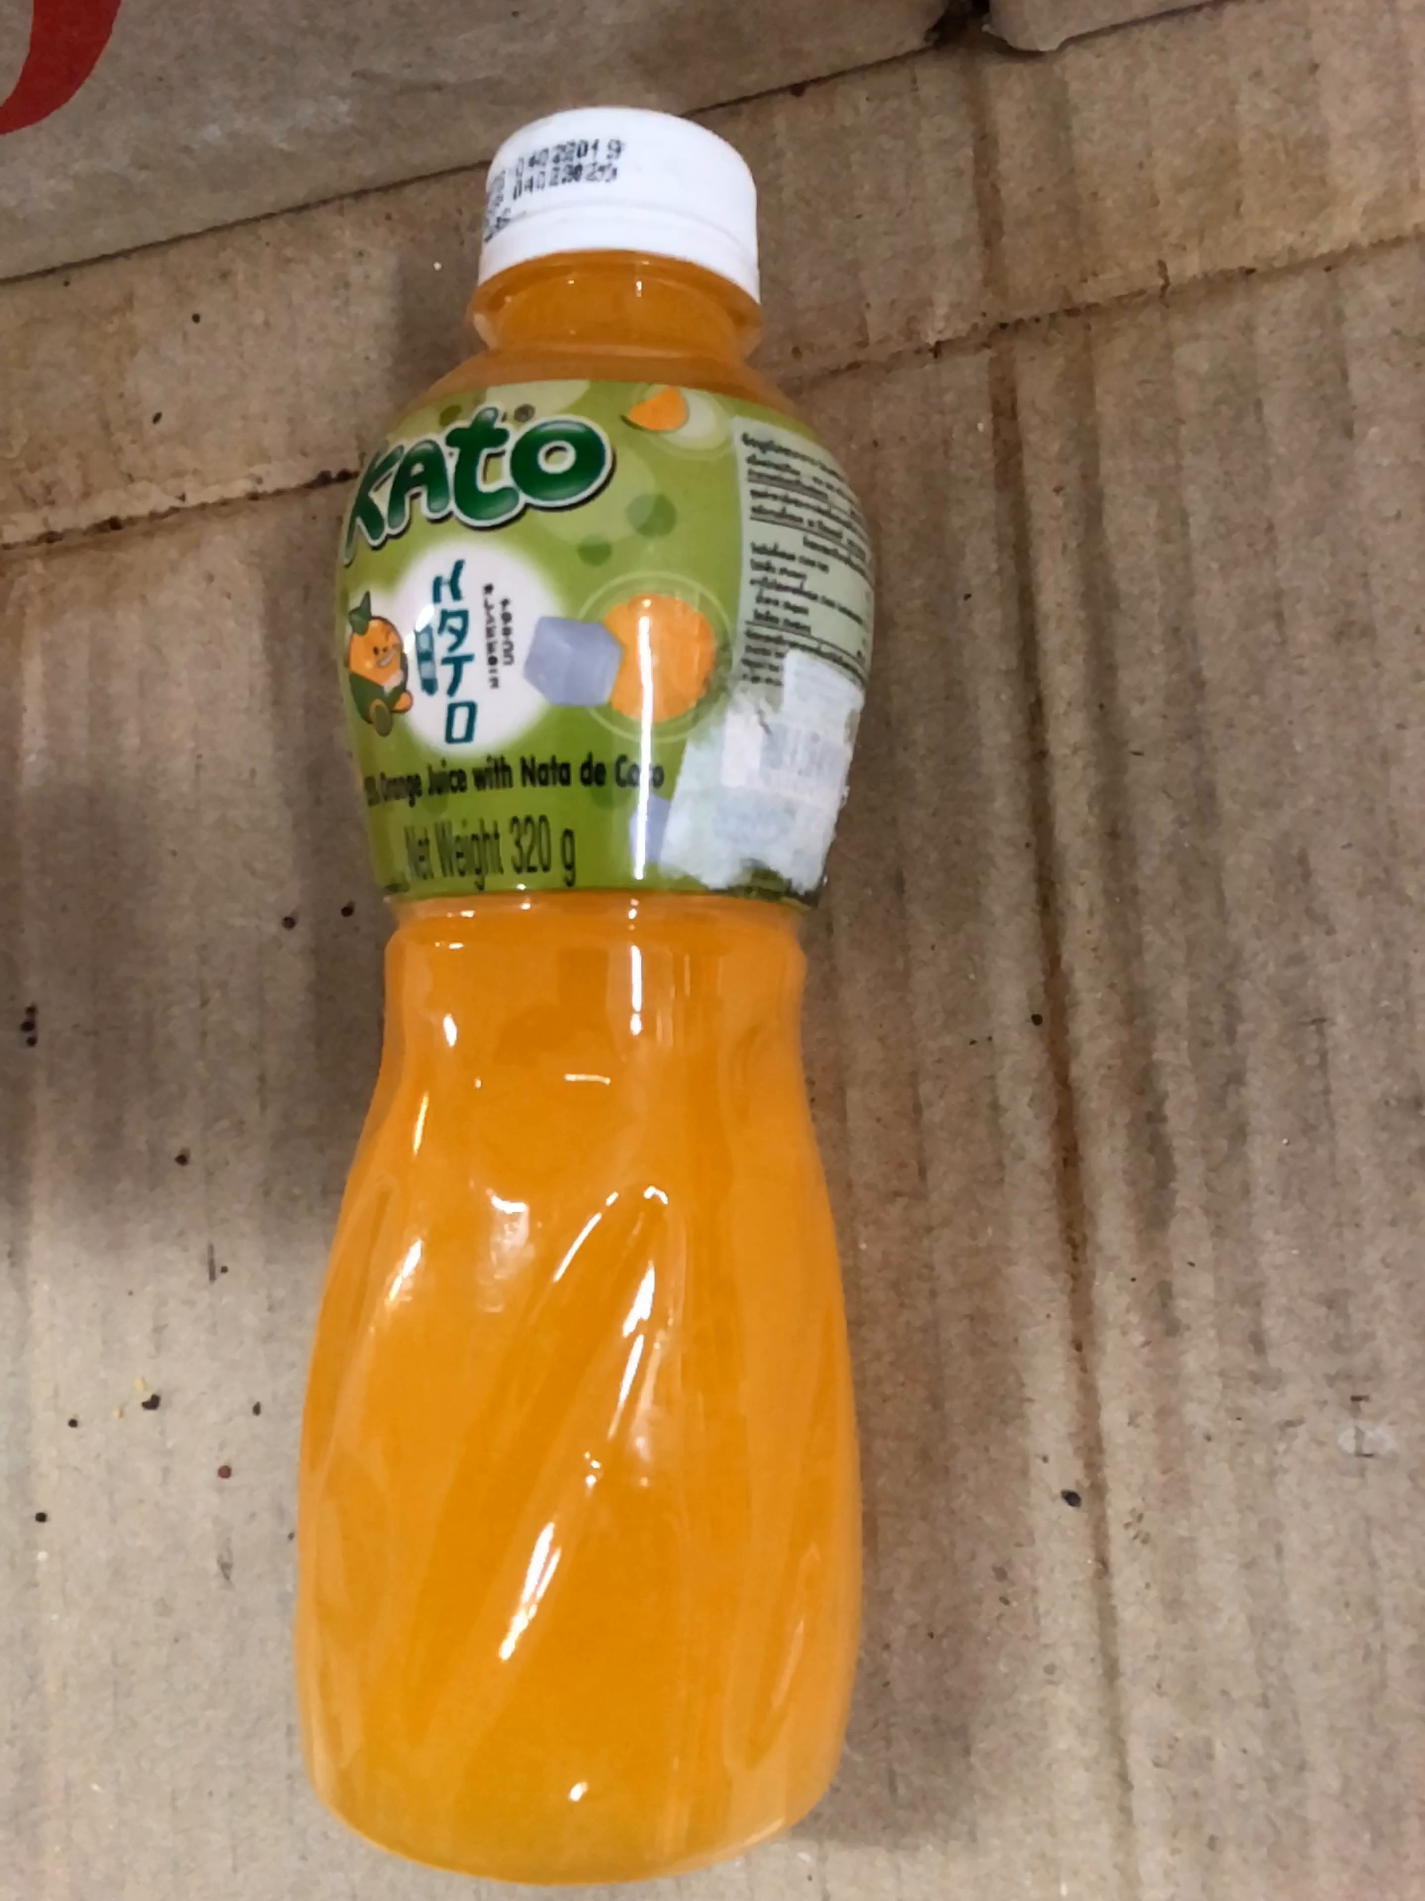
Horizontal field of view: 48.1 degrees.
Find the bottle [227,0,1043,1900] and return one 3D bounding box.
[{"bbox_3d":[-0.003,-0.005,0.178,0.070,0.060,0.190,0,87,20],"label":"bottle"}]
